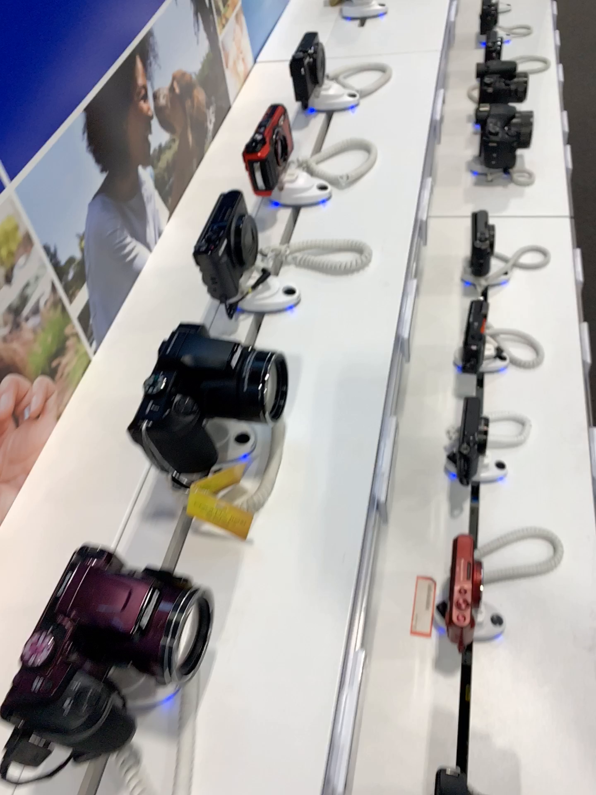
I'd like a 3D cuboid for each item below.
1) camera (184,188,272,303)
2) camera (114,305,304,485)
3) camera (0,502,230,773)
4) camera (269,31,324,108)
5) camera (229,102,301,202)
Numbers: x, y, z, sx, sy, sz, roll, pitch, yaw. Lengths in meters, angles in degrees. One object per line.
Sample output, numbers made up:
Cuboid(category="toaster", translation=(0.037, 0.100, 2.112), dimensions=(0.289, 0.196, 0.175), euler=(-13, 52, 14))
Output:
Cuboid(category="camera", translation=(-0.072, -0.167, 0.671), dimensions=(0.050, 0.060, 0.120), euler=(4, 52, 16))
Cuboid(category="camera", translation=(-0.067, -0.005, 0.518), dimensions=(0.110, 0.080, 0.120), euler=(4, 52, 16))
Cuboid(category="camera", translation=(-0.125, 0.152, 0.403), dimensions=(0.110, 0.080, 0.131), euler=(4, 52, 16))
Cuboid(category="camera", translation=(0.000, -0.492, 0.925), dimensions=(0.050, 0.060, 0.110), euler=(4, 52, 16))
Cuboid(category="camera", translation=(-0.039, -0.313, 0.783), dimensions=(0.050, 0.060, 0.131), euler=(4, 52, 16))
